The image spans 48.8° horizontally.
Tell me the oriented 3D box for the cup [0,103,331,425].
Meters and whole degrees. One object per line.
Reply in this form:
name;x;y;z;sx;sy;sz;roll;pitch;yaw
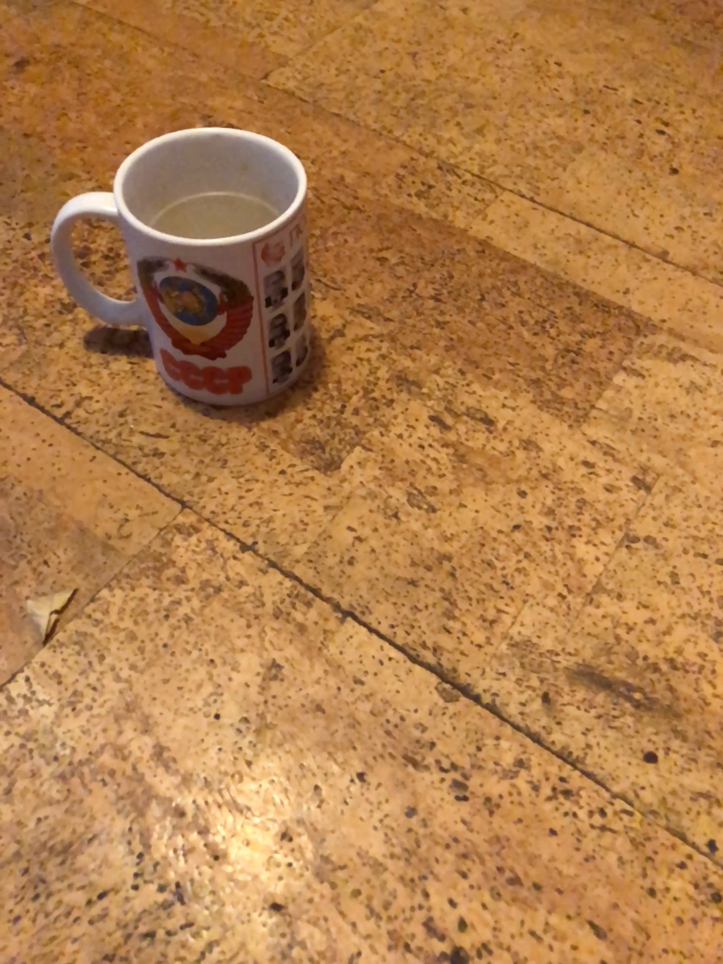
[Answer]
cup;-0.081;-0.099;0.370;0.119;0.099;0.083;9;55;4
